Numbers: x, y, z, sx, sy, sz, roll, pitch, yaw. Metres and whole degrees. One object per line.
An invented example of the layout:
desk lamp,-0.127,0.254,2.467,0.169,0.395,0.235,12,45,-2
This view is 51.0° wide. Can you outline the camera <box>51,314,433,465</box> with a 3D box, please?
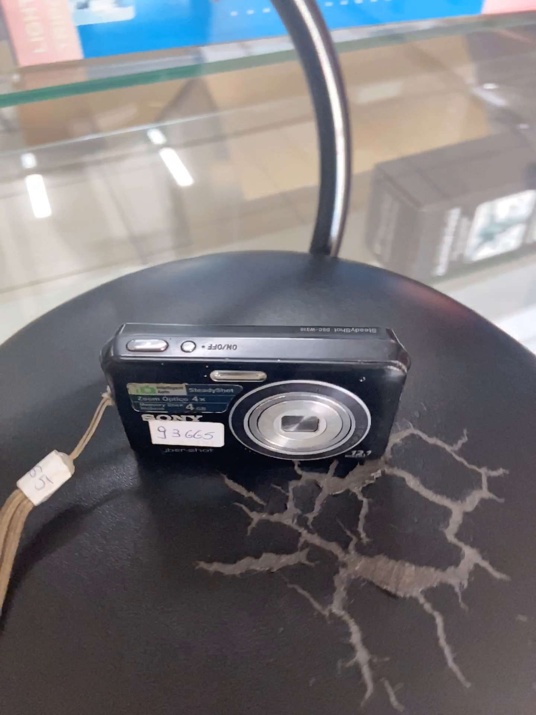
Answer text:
camera,-0.007,0.012,0.187,0.110,0.050,0.020,1,47,2
